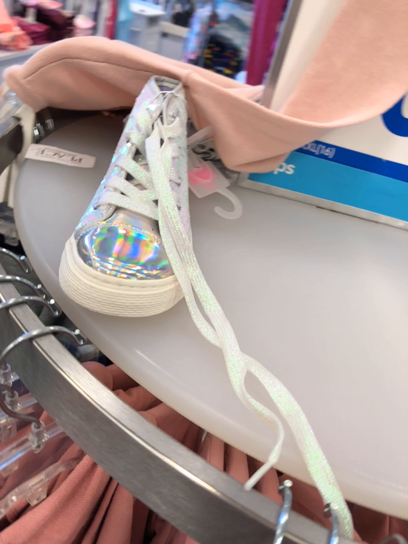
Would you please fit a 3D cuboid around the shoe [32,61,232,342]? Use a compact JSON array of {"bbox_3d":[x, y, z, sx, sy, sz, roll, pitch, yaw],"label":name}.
[{"bbox_3d":[-0.039,-0.068,0.327,0.090,0.105,0.212,12,32,-5],"label":"shoe"}]
